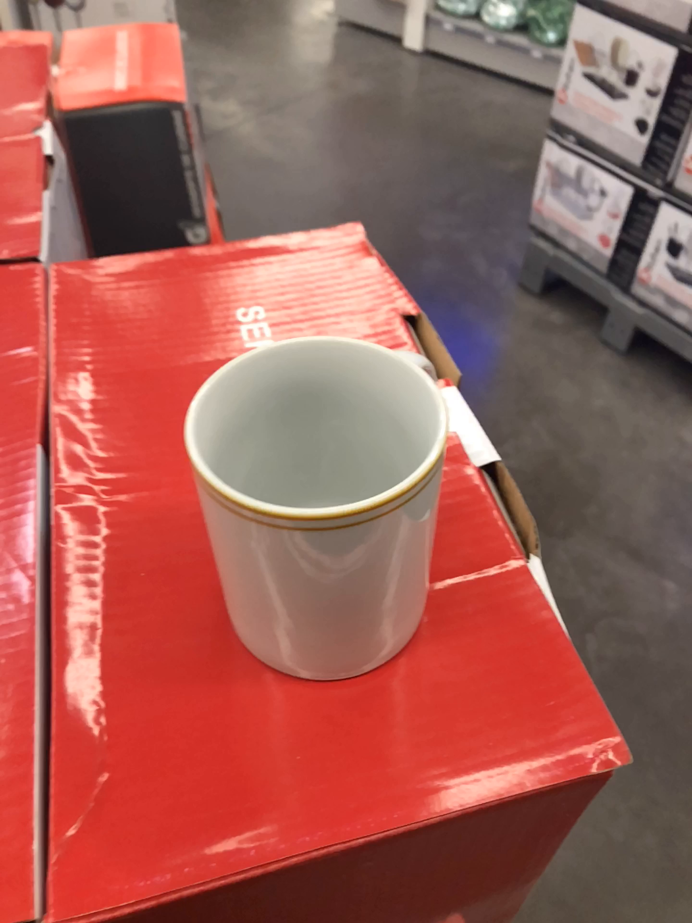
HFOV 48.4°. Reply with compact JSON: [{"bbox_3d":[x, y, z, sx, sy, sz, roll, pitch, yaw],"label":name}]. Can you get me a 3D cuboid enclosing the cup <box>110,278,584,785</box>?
[{"bbox_3d":[0.004,0.017,0.265,0.096,0.091,0.116,26,49,22],"label":"cup"}]
